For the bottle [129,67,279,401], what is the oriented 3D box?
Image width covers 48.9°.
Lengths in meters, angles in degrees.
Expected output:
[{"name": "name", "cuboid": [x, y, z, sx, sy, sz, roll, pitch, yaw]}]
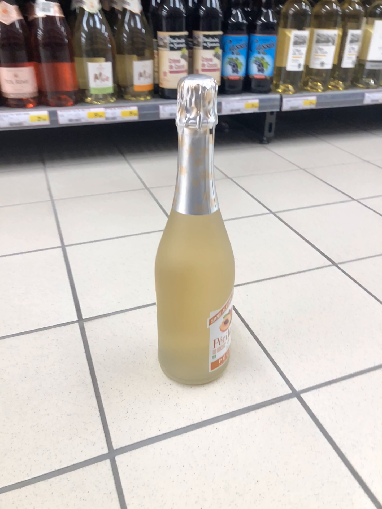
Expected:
[{"name": "bottle", "cuboid": [0.011, -0.011, 0.417, 0.090, 0.308, 0.091, 1, 30, -1]}]
